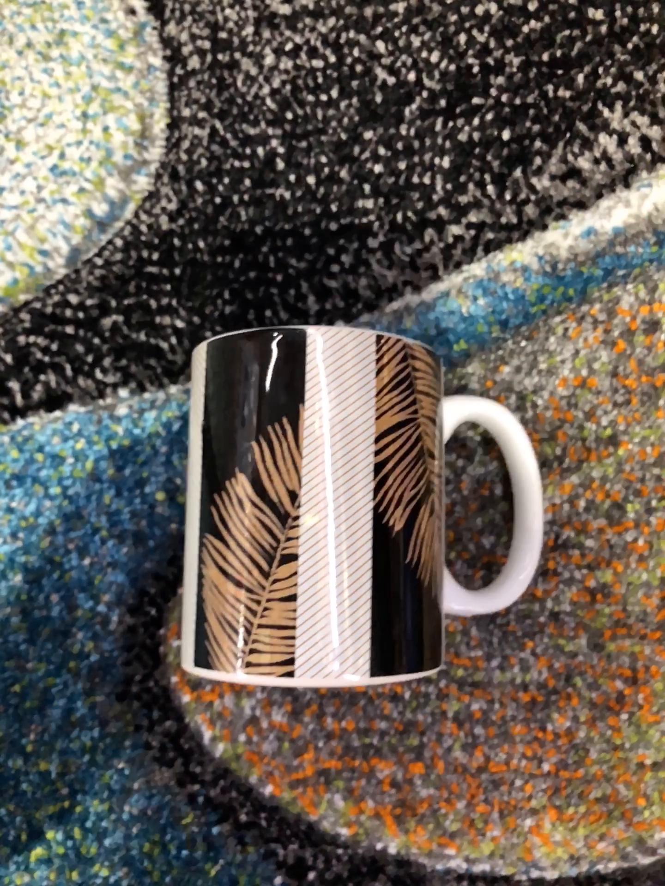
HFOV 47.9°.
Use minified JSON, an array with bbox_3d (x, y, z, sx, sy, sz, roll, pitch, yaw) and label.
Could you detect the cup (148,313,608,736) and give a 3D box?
[{"bbox_3d":[0.008,0.023,0.230,0.120,0.070,0.100,1,83,-18],"label":"cup"}]
